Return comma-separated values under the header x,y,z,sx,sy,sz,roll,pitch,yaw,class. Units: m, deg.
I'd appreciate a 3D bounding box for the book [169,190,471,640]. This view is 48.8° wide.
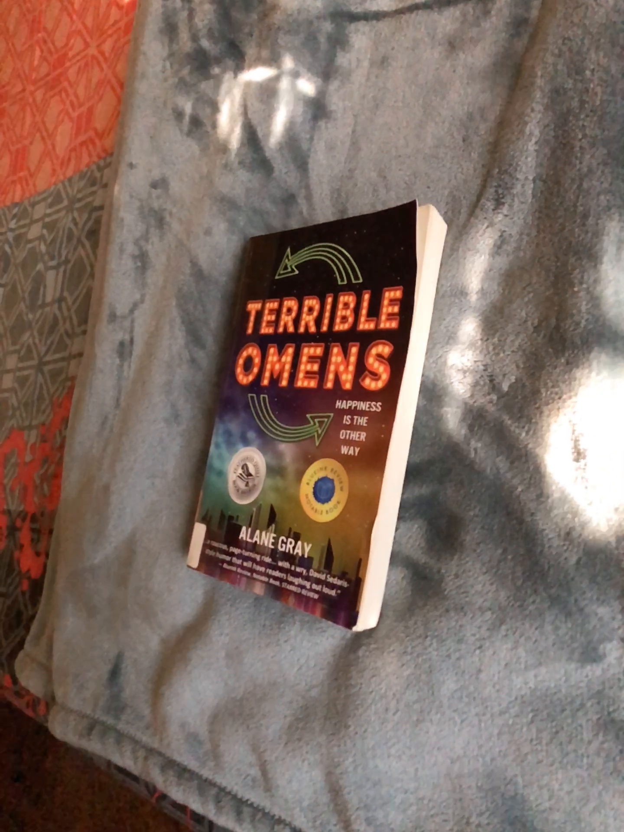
x,y,z,sx,sy,sz,roll,pitch,yaw,class
-0.002,-0.005,0.358,0.141,0.028,0.200,5,83,44,book
